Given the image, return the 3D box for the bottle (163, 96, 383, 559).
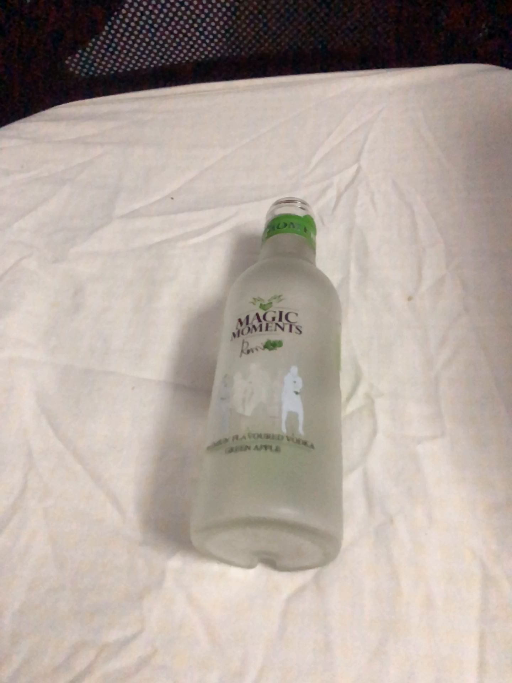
[{"bbox_3d":[0.014,-0.016,0.228,0.060,0.060,0.180,1,57,7],"label":"bottle"}]
